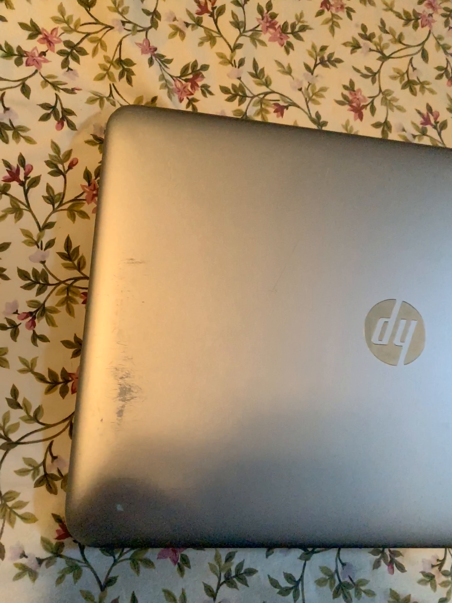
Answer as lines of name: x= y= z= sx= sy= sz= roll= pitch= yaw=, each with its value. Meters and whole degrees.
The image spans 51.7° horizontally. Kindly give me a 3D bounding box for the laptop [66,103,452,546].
laptop: x=0.097 y=0.015 z=0.269 sx=0.337 sy=0.010 sz=0.228 roll=5 pitch=79 yaw=-9
